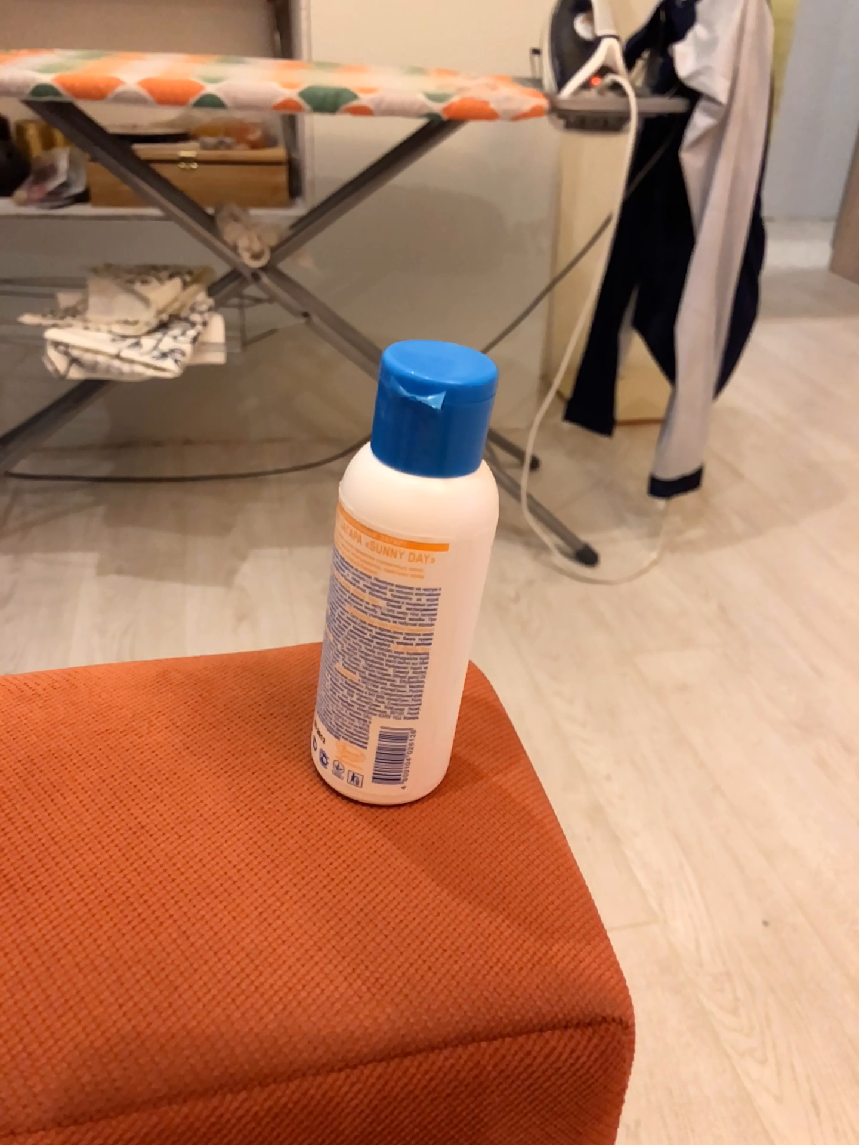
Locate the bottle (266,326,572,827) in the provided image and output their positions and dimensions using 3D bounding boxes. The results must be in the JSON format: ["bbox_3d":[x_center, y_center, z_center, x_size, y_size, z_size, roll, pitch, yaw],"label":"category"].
[{"bbox_3d":[-0.007,0.000,0.241,0.044,0.112,0.047,7,26,-4],"label":"bottle"}]
